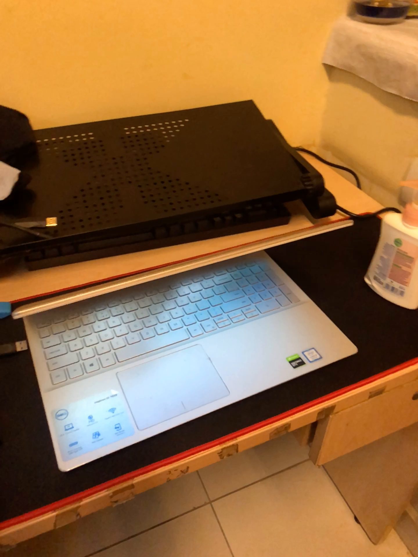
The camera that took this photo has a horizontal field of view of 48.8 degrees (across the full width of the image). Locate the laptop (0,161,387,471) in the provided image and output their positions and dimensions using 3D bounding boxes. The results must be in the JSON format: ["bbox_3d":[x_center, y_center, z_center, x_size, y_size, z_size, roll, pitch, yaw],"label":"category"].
[{"bbox_3d":[-0.026,0.014,0.526,0.351,0.139,0.219,-17,45,-20],"label":"laptop"}]
